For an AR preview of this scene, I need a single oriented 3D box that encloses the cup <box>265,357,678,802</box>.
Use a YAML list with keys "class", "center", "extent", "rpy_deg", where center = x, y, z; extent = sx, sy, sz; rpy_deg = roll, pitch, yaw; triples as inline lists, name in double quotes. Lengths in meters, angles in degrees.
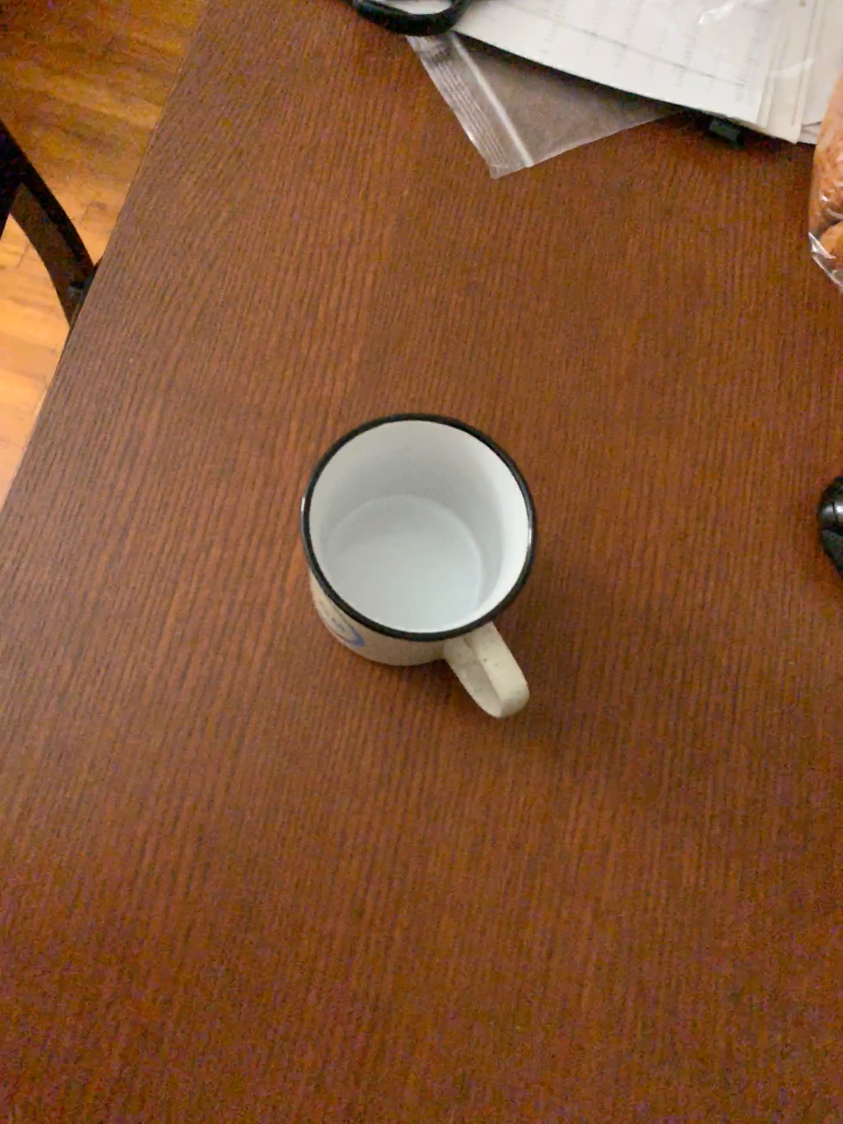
- class: "cup"
  center: [0.013, 0.013, 0.386]
  extent: [0.100, 0.100, 0.150]
  rpy_deg: [-29, 79, -14]
